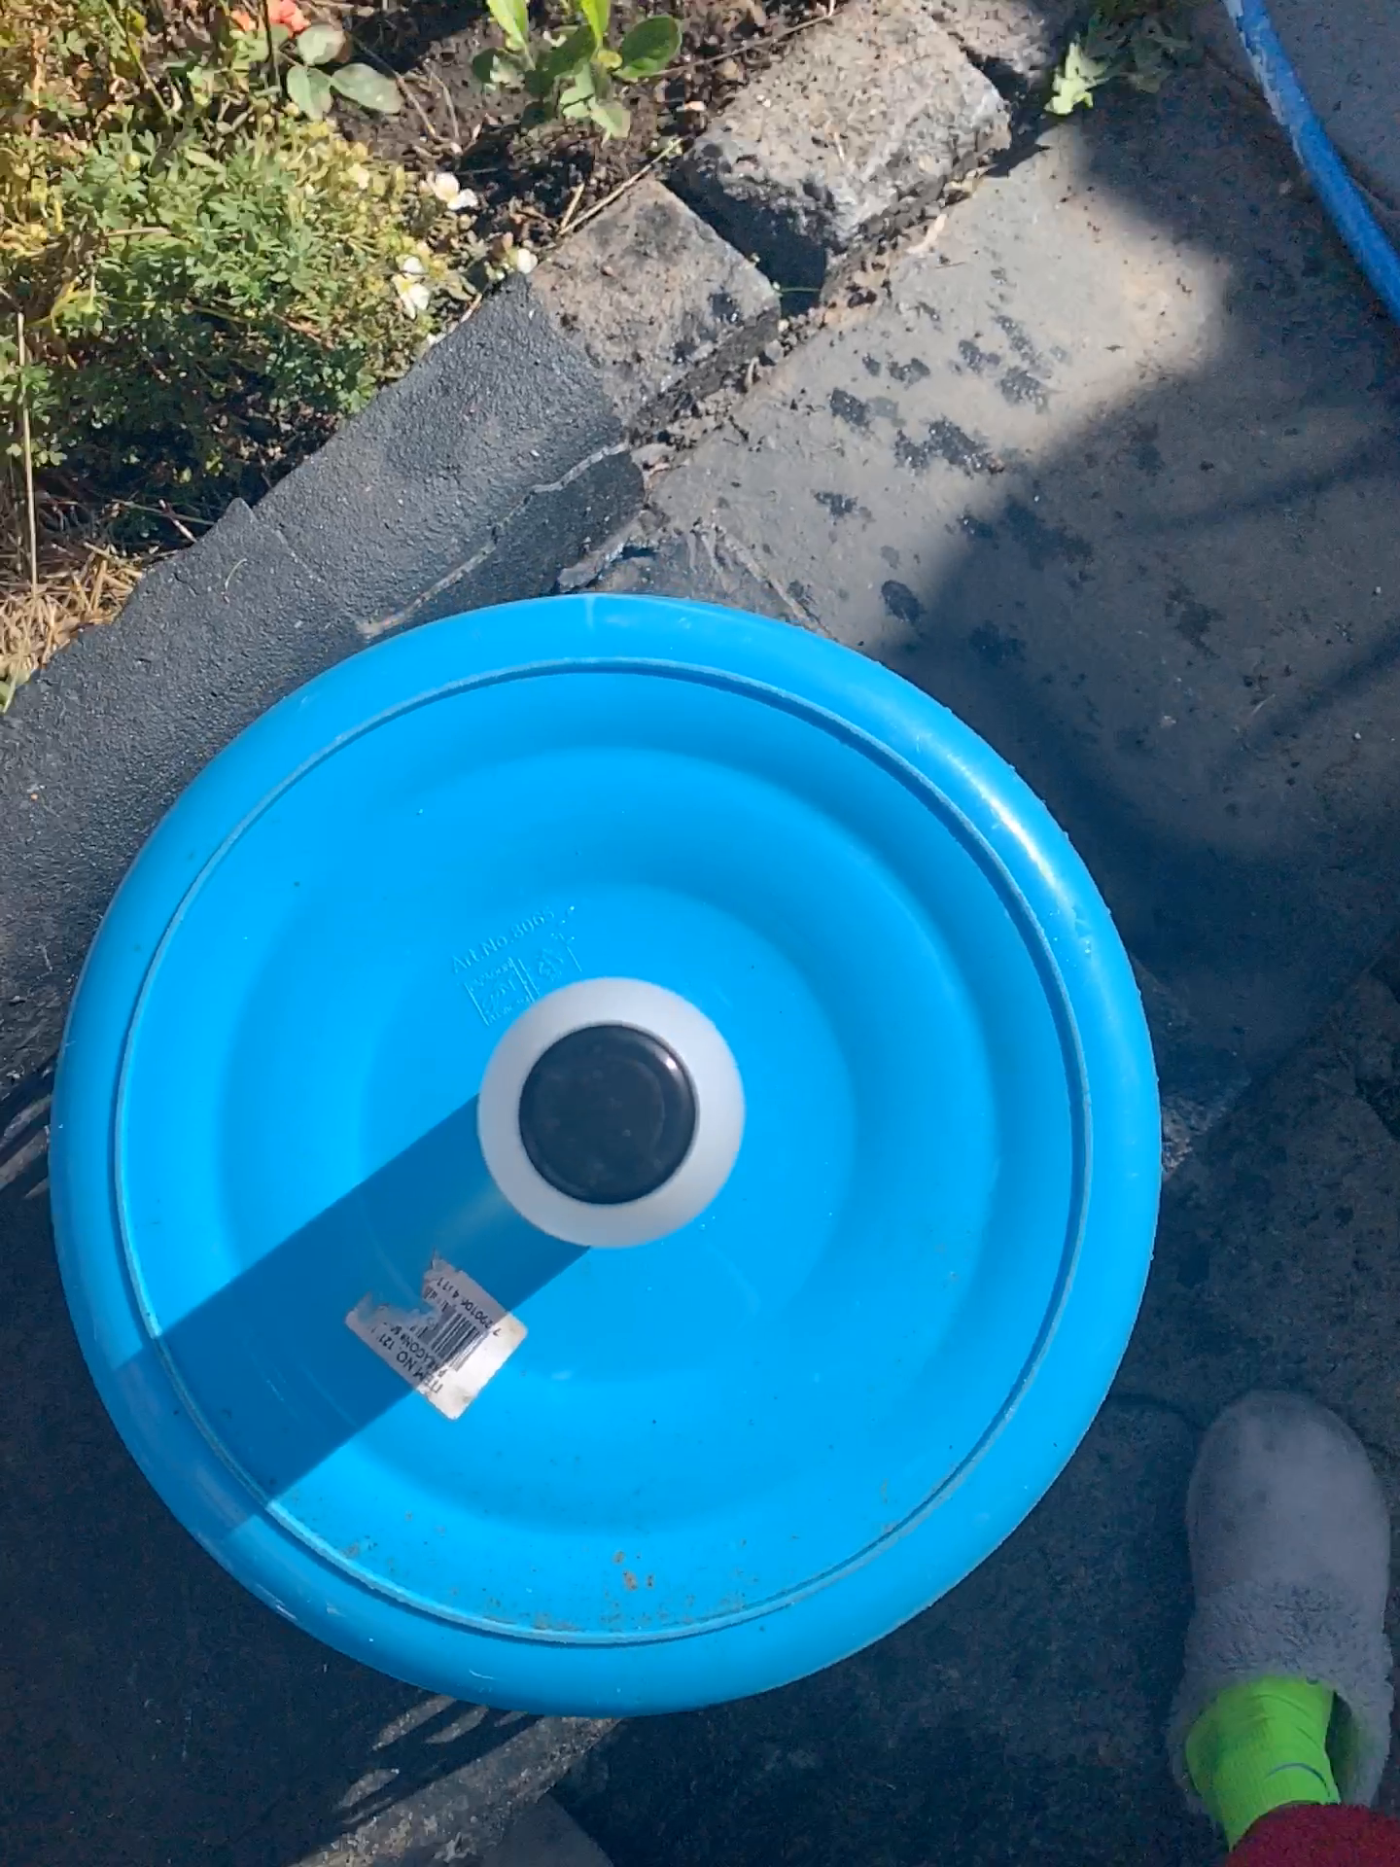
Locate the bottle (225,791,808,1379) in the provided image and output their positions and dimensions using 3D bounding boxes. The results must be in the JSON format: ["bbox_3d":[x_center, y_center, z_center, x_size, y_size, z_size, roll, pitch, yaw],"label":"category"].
[{"bbox_3d":[-0.026,0.034,0.296,0.060,0.180,0.060,0,81,1],"label":"bottle"}]
